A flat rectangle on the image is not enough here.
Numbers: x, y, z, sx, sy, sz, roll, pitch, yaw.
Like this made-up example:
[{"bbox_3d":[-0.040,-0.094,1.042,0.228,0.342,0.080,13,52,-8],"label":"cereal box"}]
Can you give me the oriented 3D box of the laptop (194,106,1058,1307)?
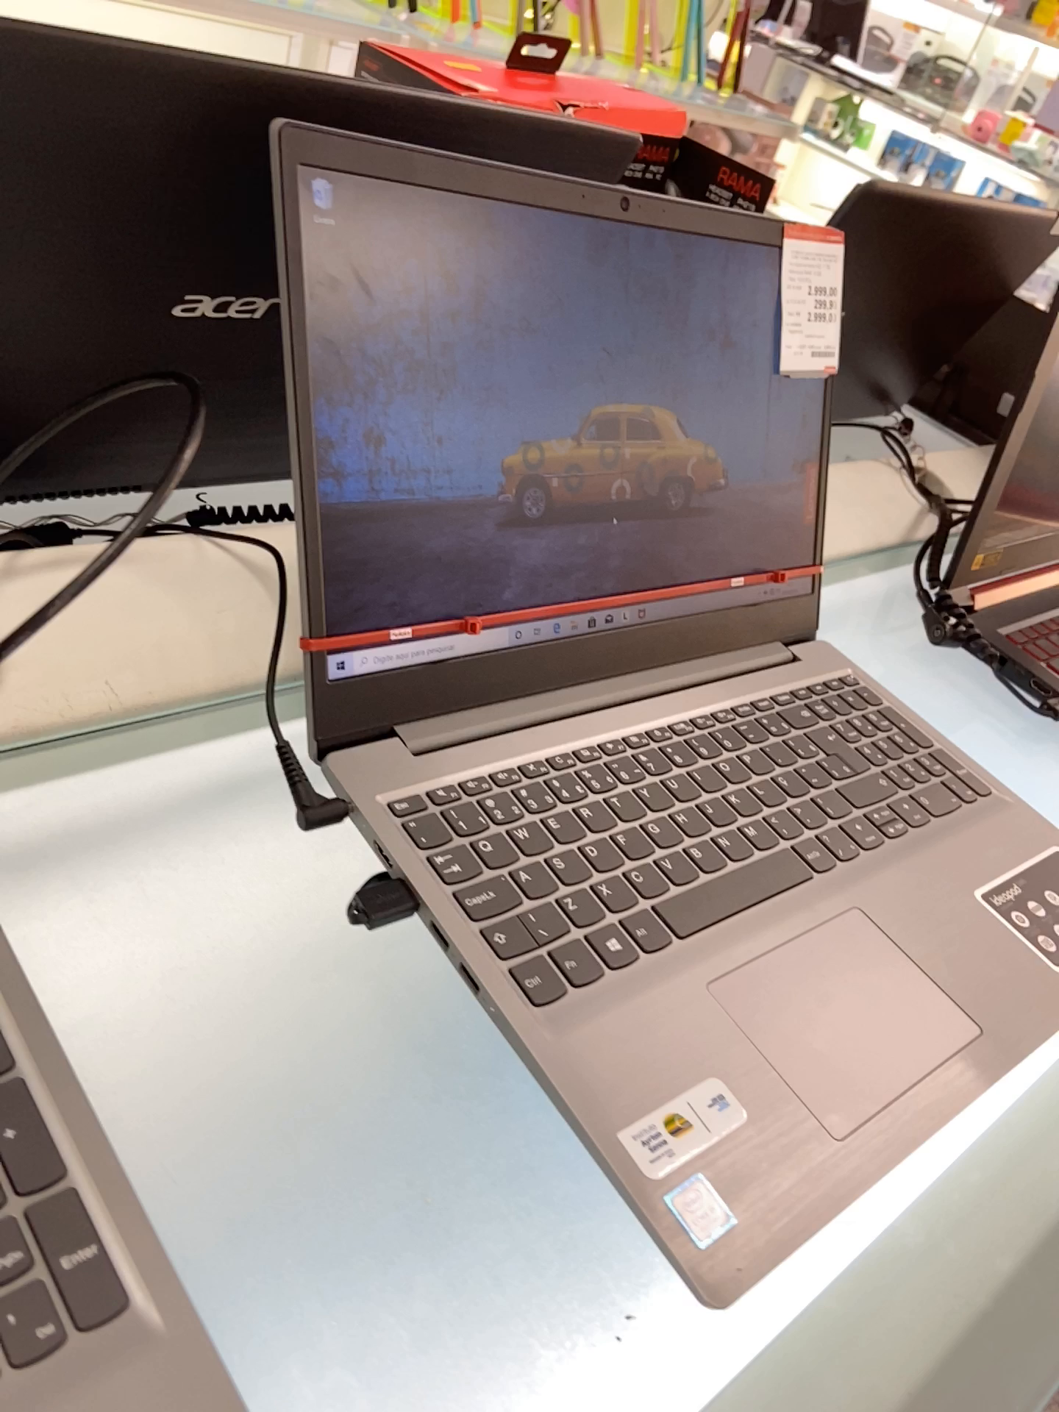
[{"bbox_3d":[0.116,-0.053,0.481,0.370,0.209,0.379,-13,48,-39],"label":"laptop"}]
